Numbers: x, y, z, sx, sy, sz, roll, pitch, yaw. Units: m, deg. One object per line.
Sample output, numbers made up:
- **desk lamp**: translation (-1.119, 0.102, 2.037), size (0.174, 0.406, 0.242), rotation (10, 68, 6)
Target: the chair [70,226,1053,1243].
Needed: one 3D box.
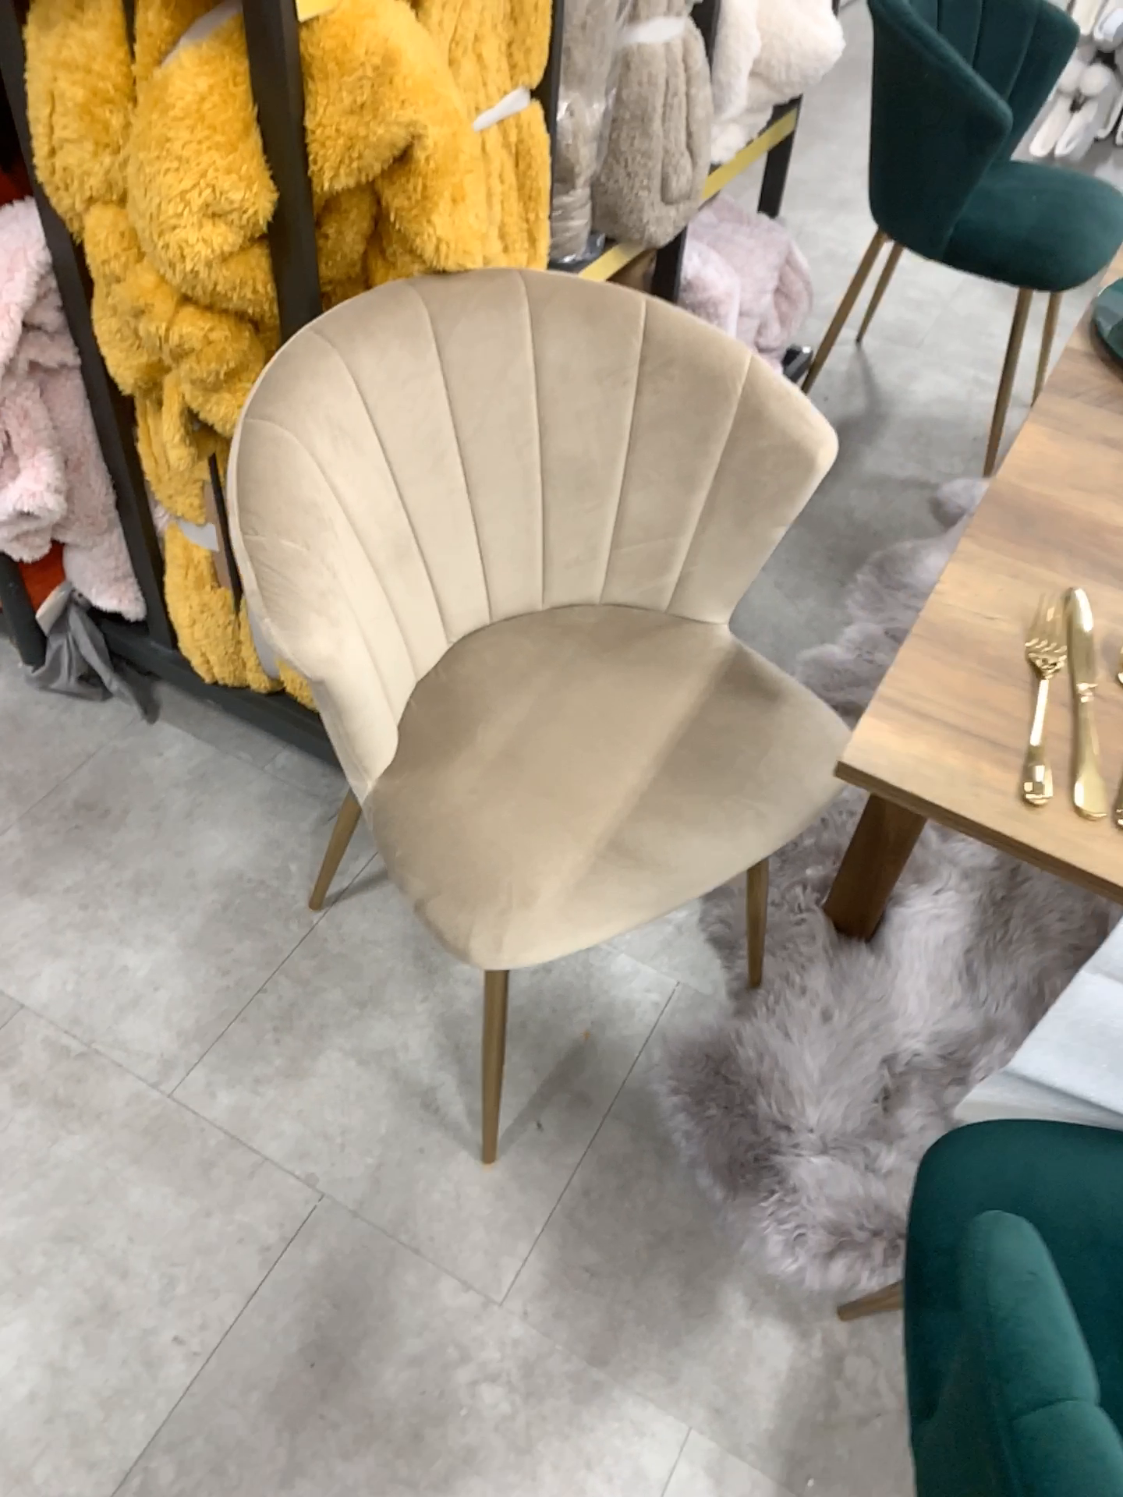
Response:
- **chair**: translation (-0.036, -0.026, 1.163), size (0.563, 0.666, 0.576), rotation (-25, 54, -25)
